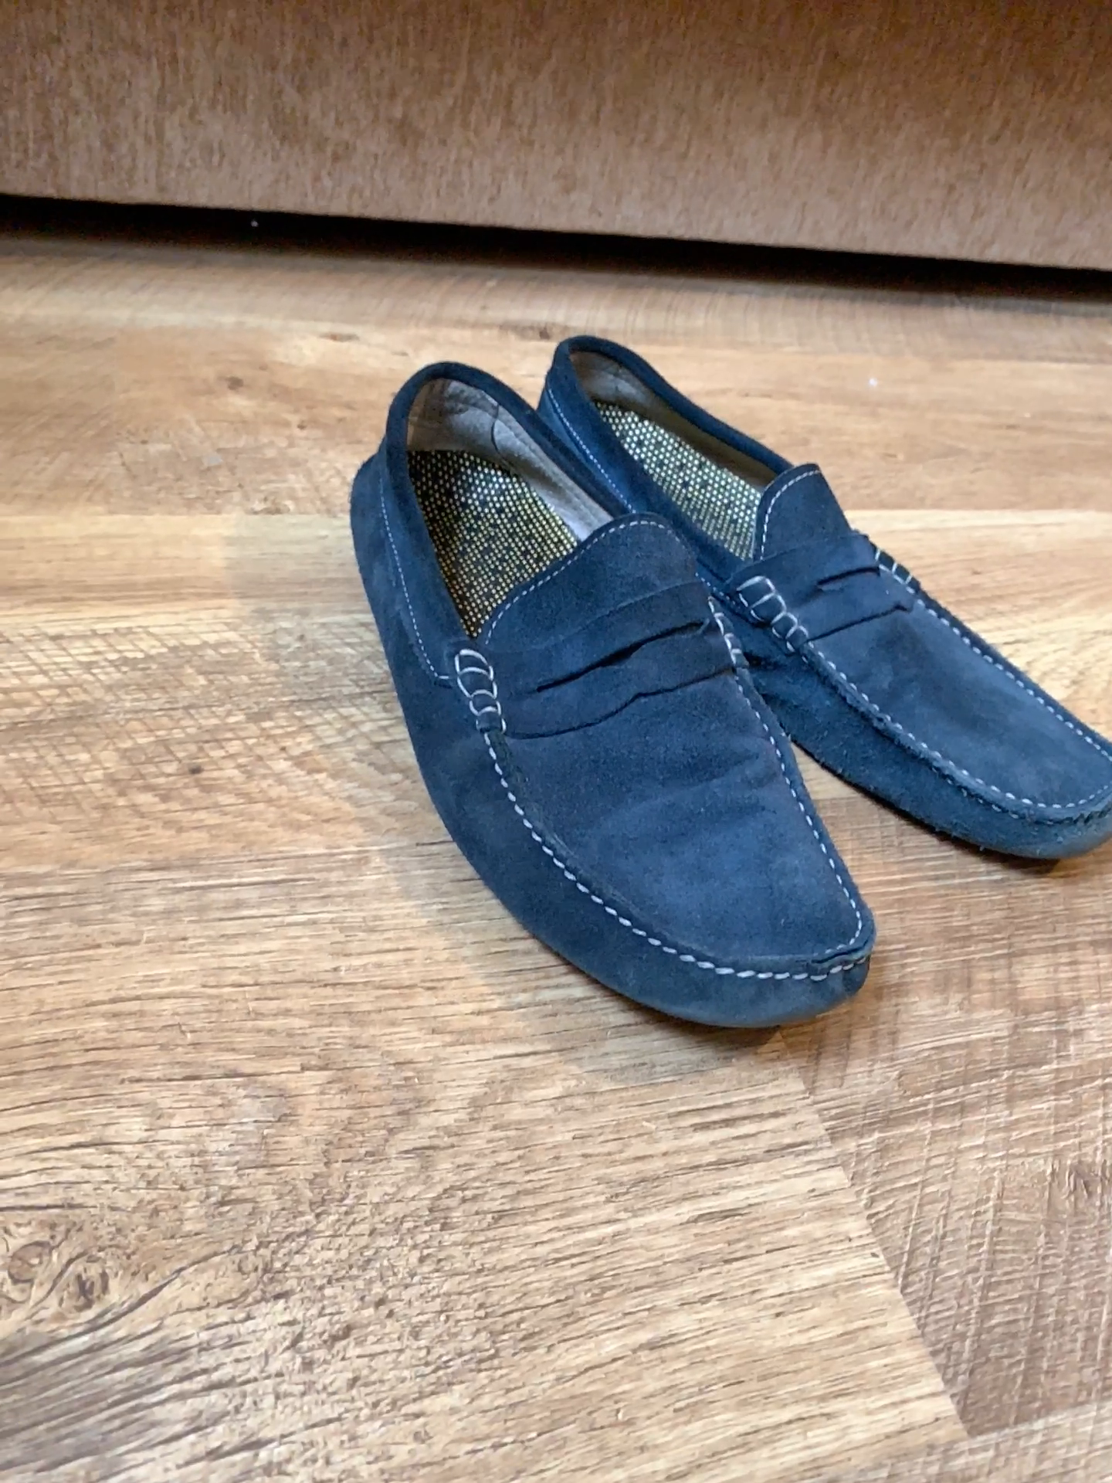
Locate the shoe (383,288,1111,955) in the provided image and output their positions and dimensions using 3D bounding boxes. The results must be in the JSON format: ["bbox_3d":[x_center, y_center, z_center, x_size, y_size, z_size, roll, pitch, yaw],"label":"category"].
[{"bbox_3d":[0.068,-0.067,0.407,0.110,0.070,0.291,-24,51,-34],"label":"shoe"}]

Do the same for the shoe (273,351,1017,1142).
[{"bbox_3d":[-0.001,-0.028,0.353,0.100,0.070,0.271,-11,45,-24],"label":"shoe"}]
